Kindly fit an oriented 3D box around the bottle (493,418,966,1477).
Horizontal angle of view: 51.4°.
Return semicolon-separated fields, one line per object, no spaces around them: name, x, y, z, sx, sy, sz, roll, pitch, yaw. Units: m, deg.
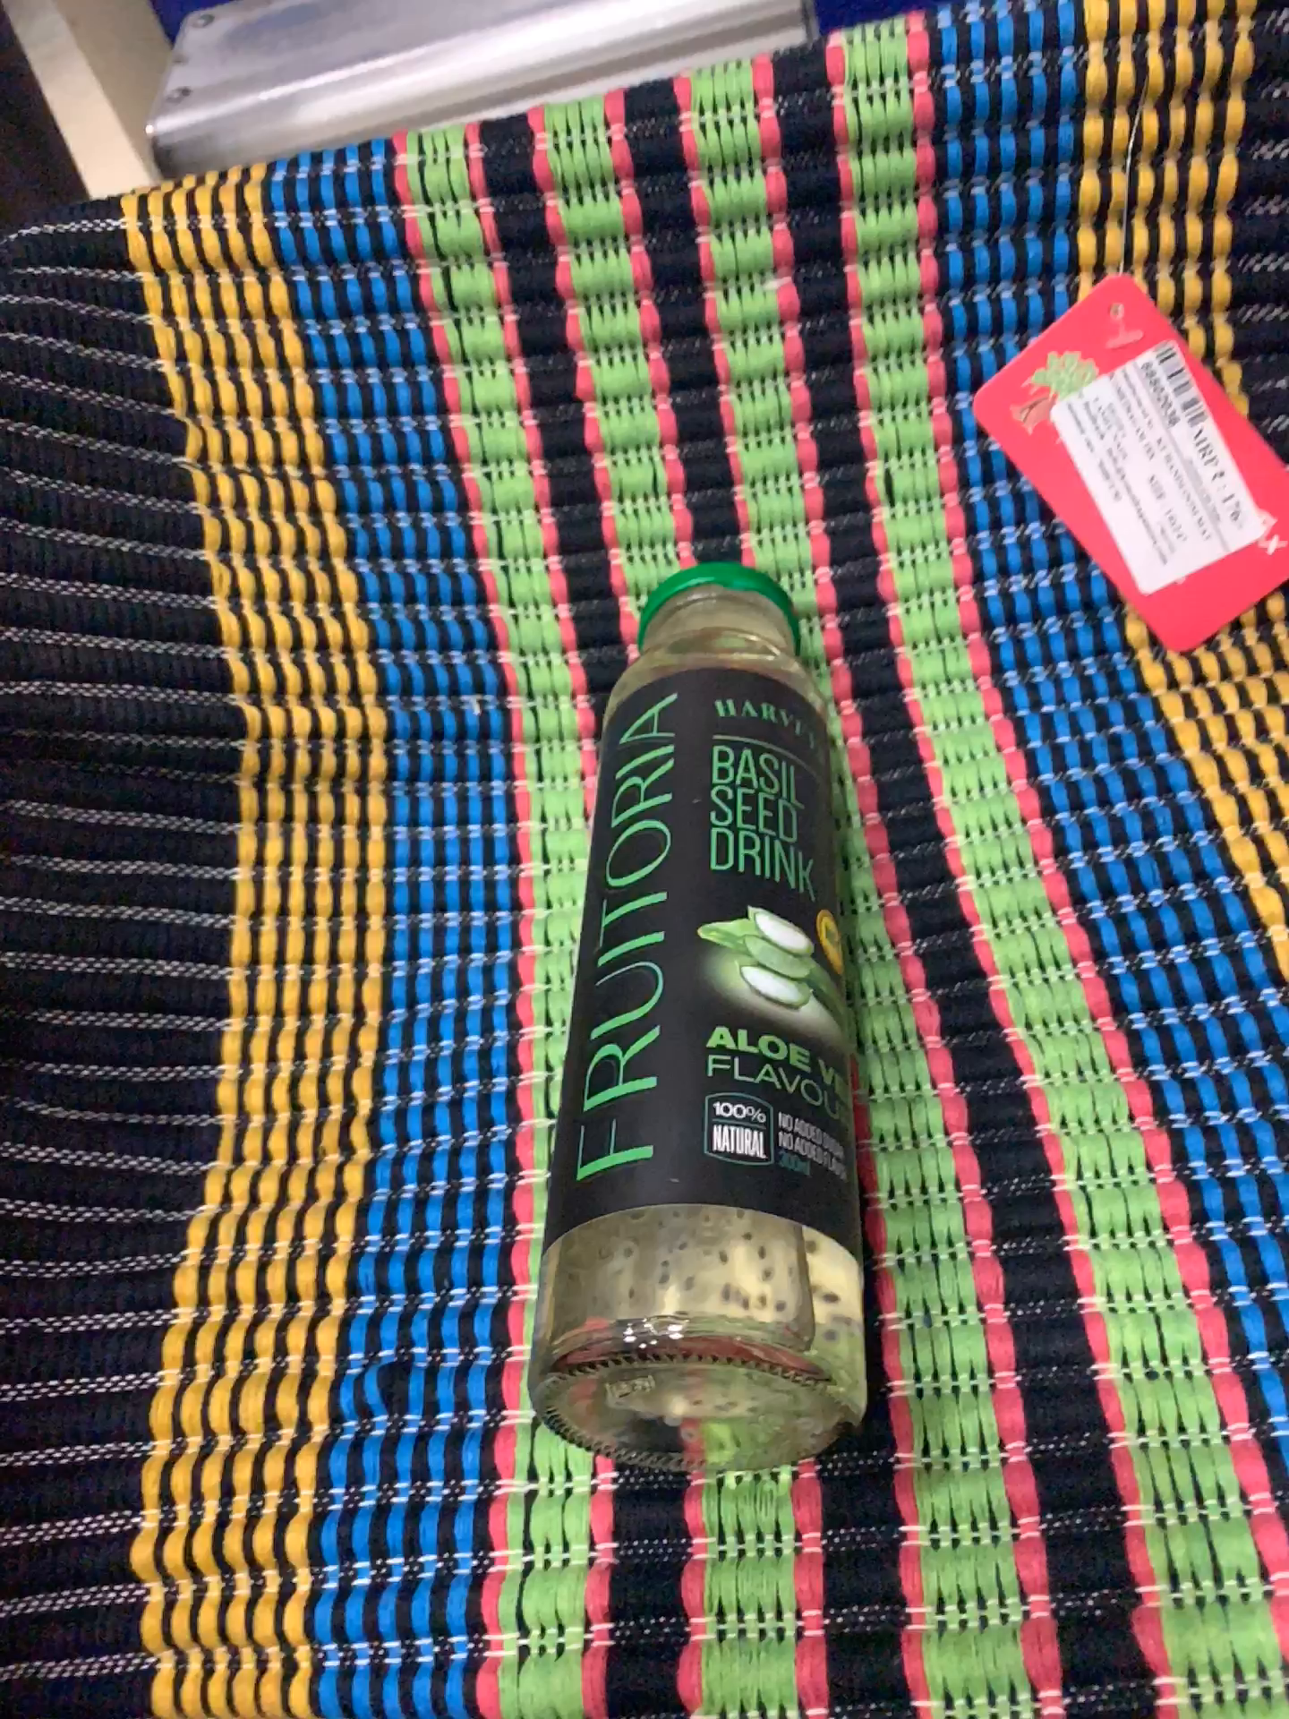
bottle;0.017;0.004;0.263;0.050;0.060;0.200;18;50;-15
